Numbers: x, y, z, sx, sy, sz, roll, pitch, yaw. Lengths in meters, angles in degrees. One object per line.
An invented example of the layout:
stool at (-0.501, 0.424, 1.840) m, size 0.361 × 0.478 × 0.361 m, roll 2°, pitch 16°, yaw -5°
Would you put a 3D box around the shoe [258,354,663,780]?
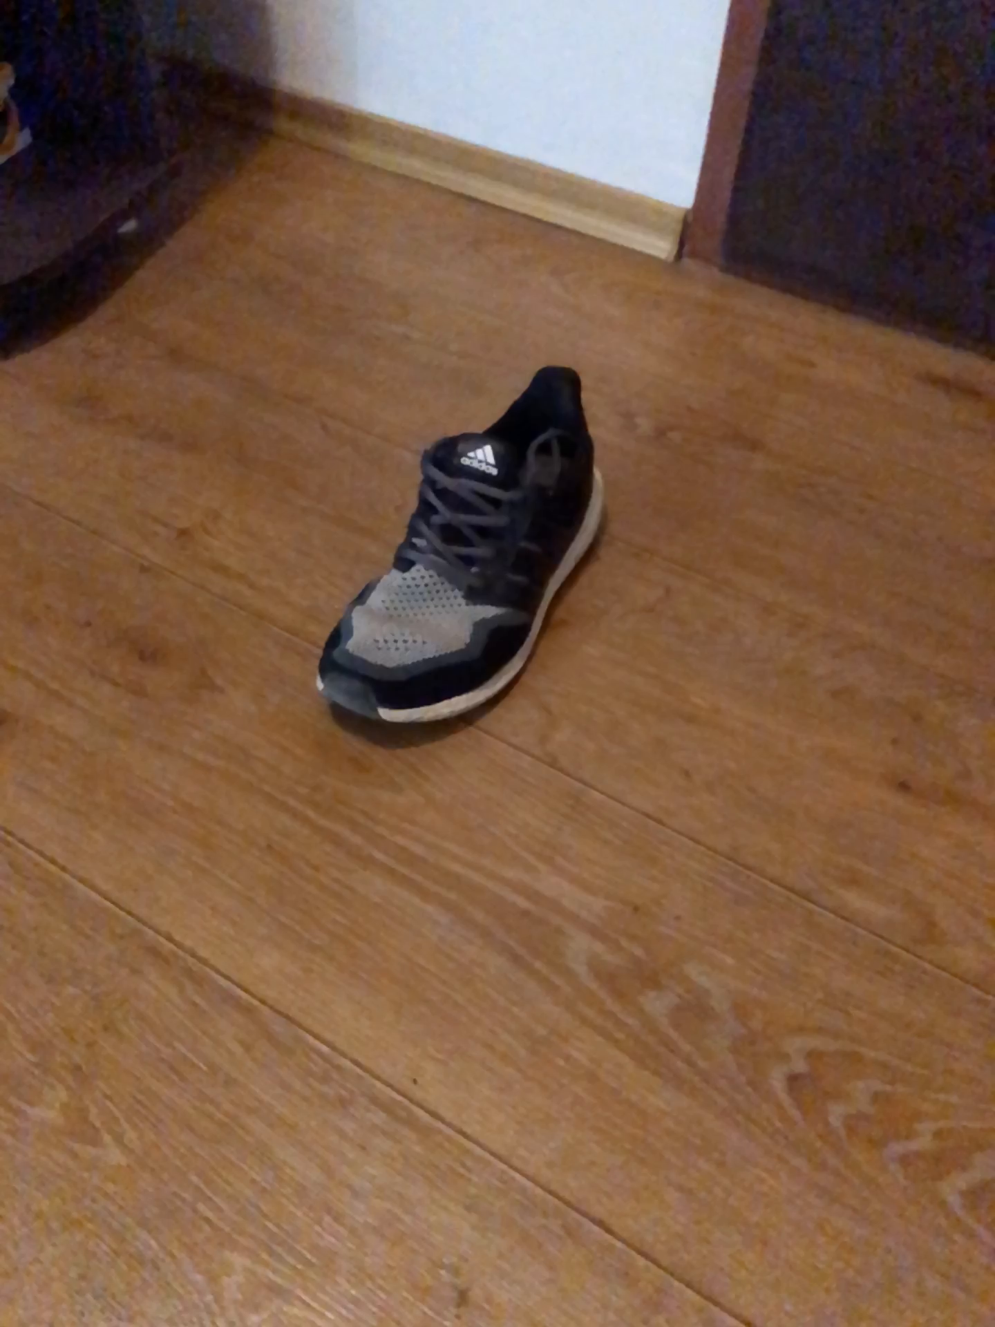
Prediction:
shoe at (-0.013, -0.073, 0.689) m, size 0.113 × 0.099 × 0.271 m, roll 26°, pitch 51°, yaw 19°
